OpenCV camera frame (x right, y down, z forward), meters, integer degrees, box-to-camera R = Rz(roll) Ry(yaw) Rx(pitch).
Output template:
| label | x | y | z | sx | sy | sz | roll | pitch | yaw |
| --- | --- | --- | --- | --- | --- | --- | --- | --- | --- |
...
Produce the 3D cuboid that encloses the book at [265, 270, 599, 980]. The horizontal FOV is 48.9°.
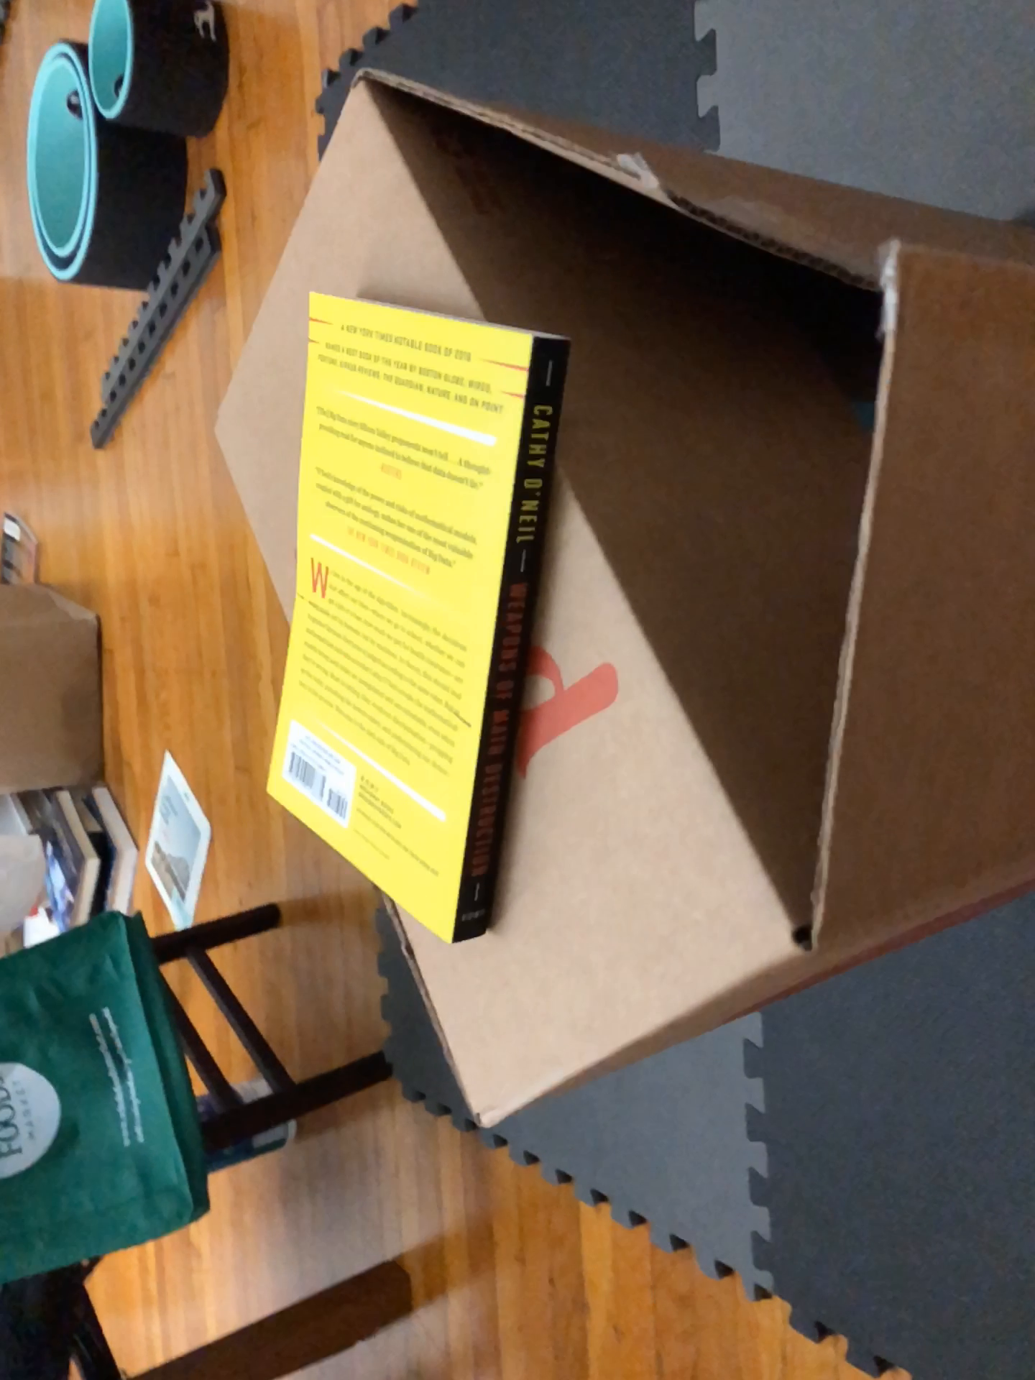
| label | x | y | z | sx | sy | sz | roll | pitch | yaw |
| --- | --- | --- | --- | --- | --- | --- | --- | --- | --- |
| book | -0.044 | -0.030 | 0.415 | 0.151 | 0.020 | 0.220 | 30 | 119 | 47 |
